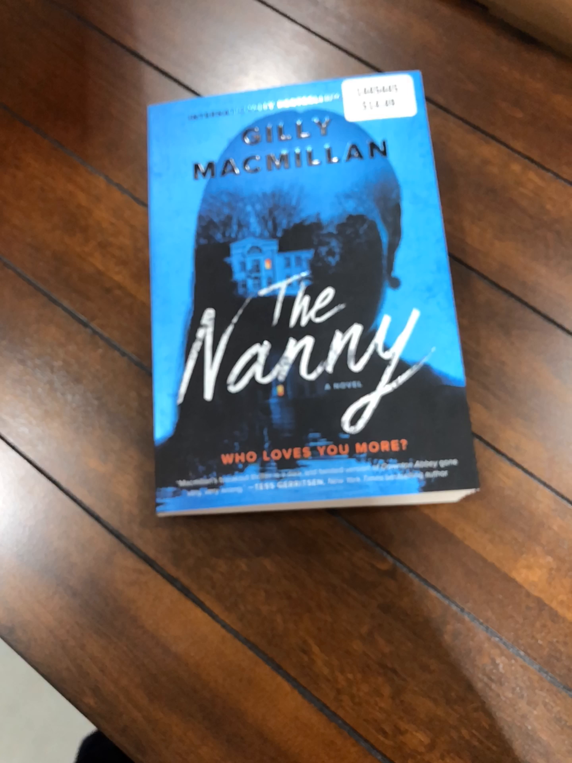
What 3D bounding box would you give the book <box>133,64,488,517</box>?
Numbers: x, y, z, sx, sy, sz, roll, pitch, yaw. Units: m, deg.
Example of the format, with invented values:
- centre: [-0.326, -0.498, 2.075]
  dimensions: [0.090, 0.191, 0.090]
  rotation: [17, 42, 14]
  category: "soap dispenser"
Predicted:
- centre: [0.007, -0.050, 0.343]
  dimensions: [0.160, 0.040, 0.230]
  rotation: [-4, 73, 6]
  category: "book"
